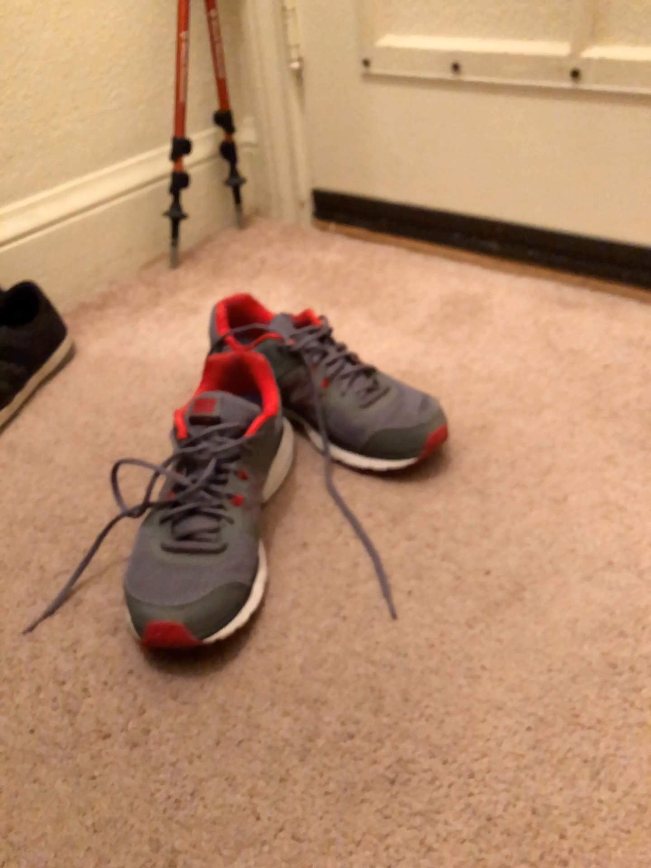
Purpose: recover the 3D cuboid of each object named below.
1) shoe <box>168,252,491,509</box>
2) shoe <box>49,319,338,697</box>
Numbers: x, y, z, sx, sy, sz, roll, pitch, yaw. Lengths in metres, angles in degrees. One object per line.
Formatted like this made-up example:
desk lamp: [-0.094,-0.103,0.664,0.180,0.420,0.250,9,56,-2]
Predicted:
shoe: [-0.003,-0.066,0.700,0.298,0.119,0.113,26,48,35]
shoe: [-0.078,0.035,0.581,0.113,0.119,0.299,3,38,12]
